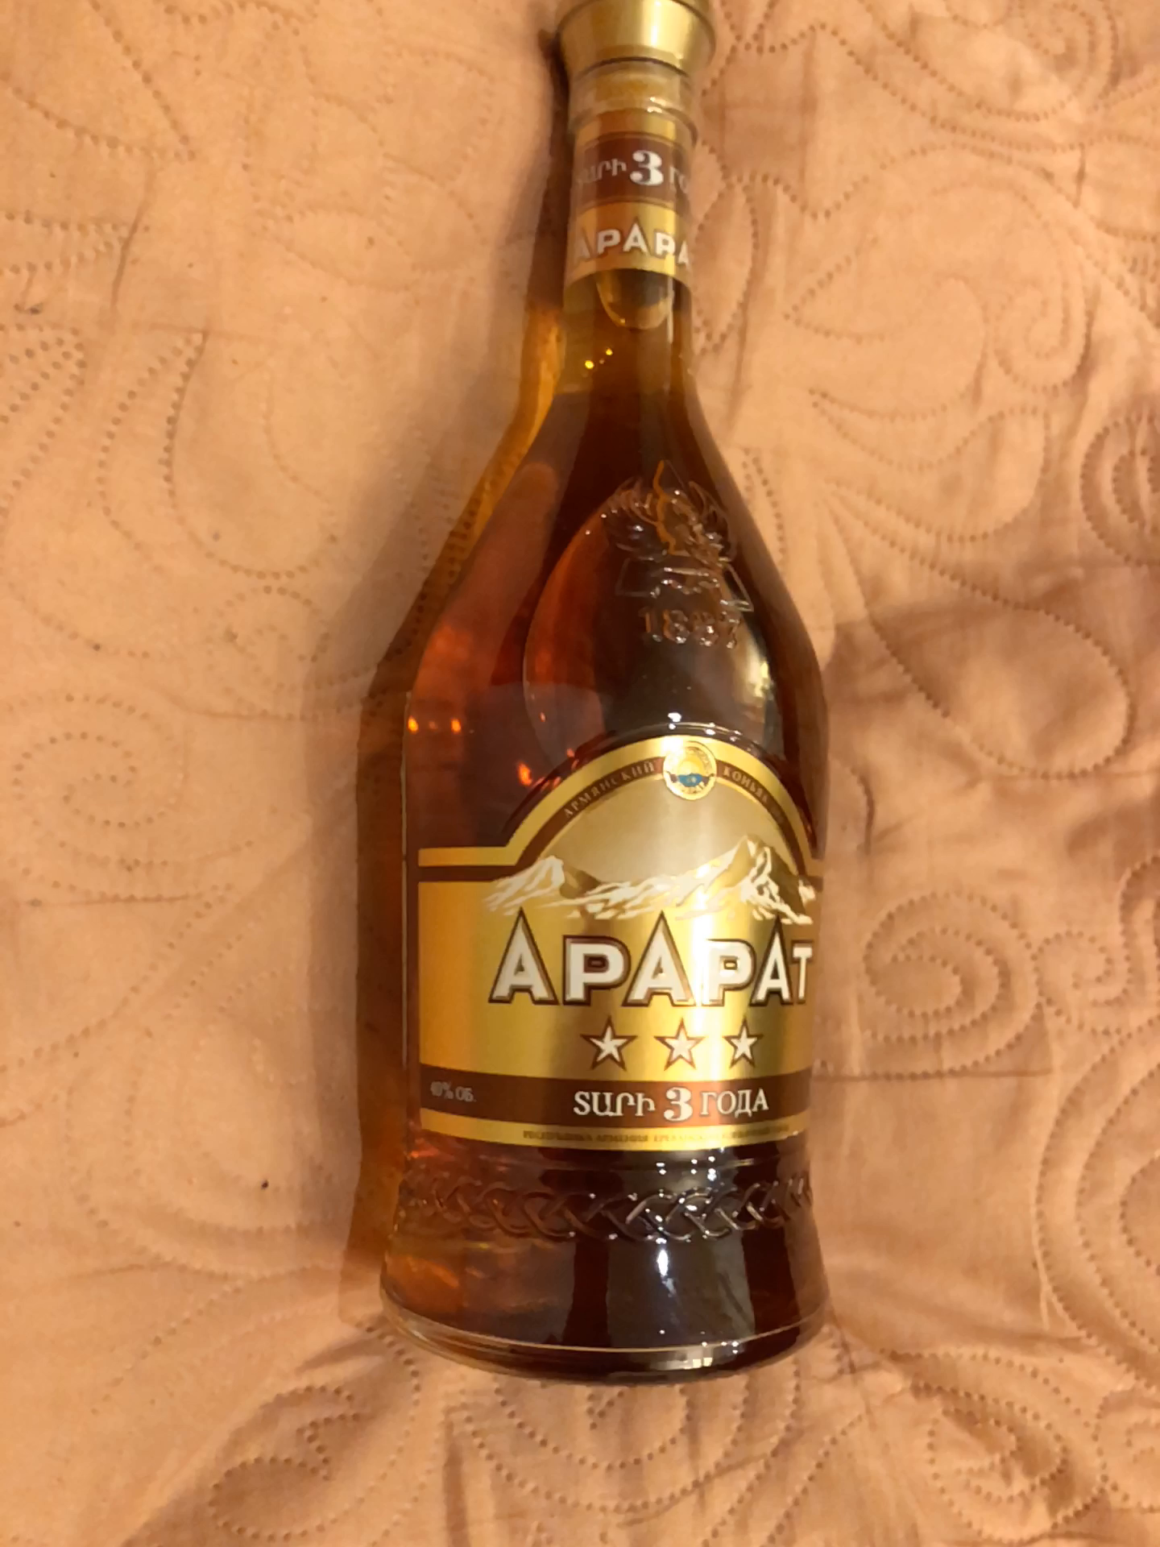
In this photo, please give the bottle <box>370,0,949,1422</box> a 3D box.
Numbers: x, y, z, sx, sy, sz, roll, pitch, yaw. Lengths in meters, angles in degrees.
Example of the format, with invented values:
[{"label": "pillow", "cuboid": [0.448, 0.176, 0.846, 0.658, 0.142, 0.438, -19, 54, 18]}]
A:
[{"label": "bottle", "cuboid": [0.005, -0.025, 0.261, 0.090, 0.090, 0.257, 1, 81, -9]}]
